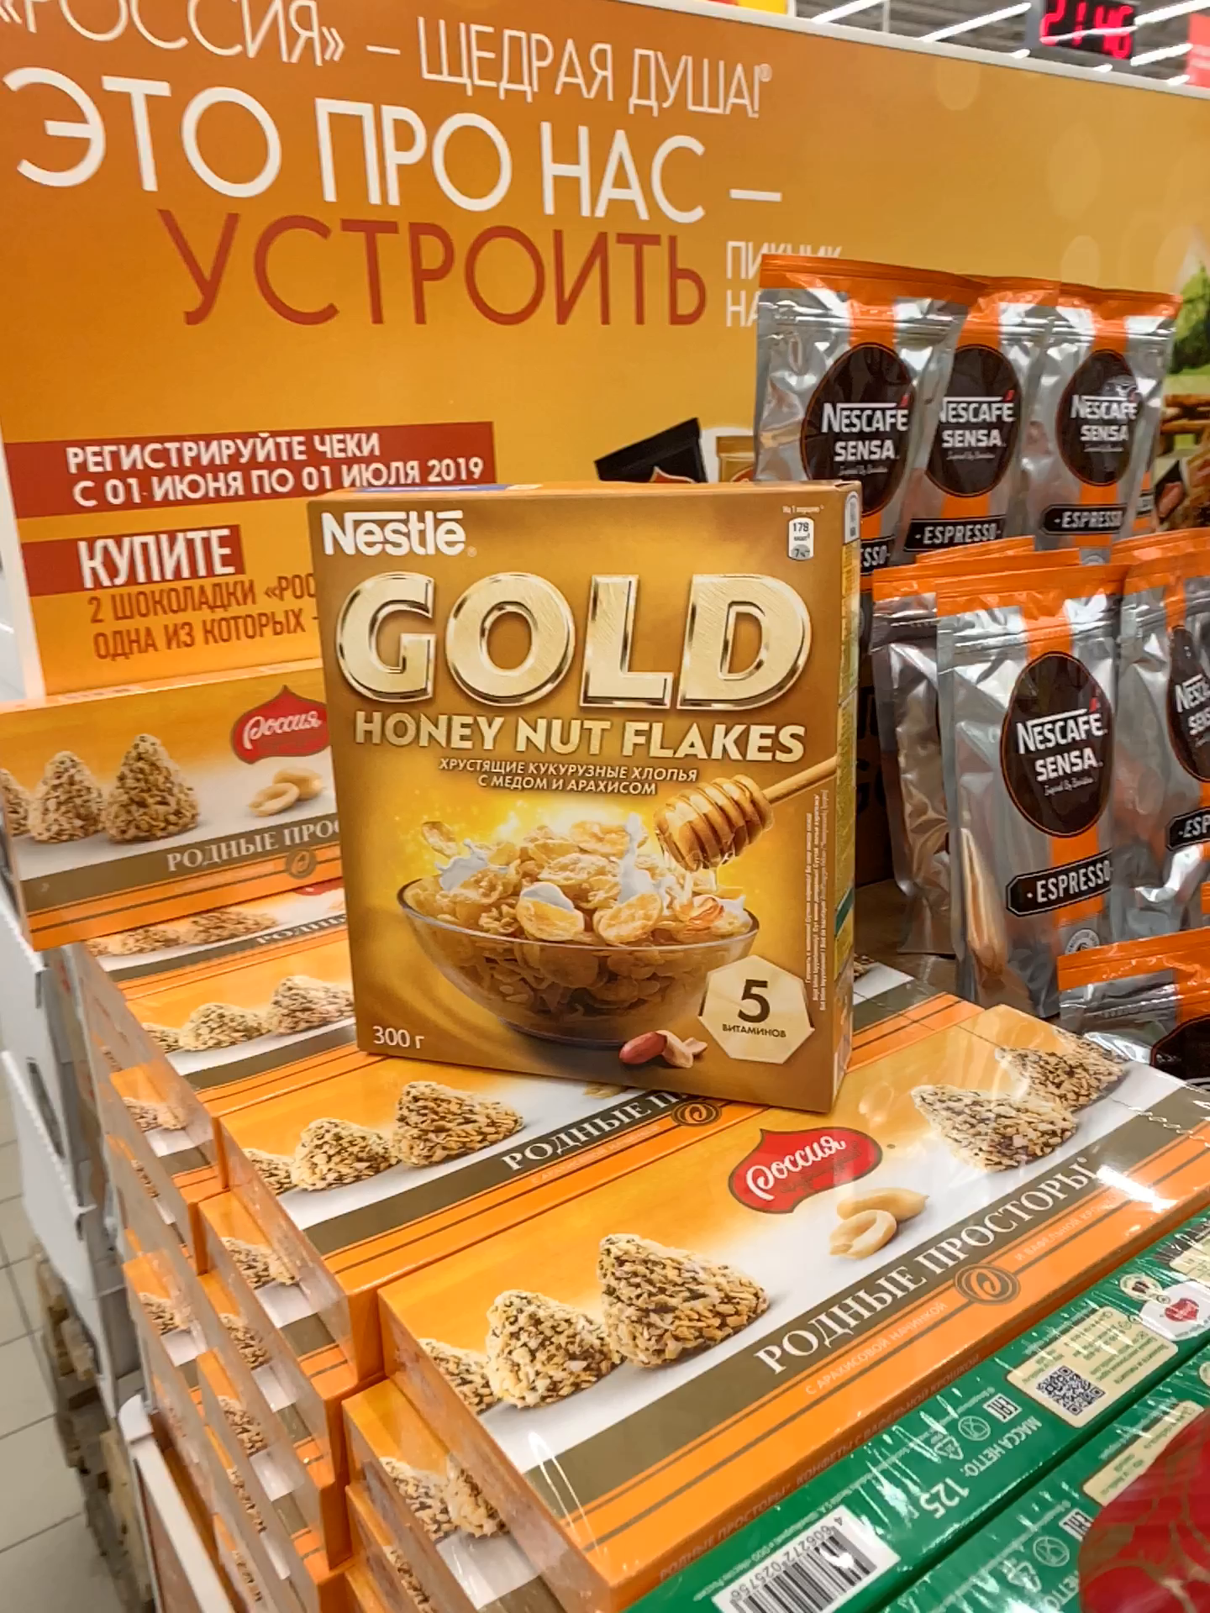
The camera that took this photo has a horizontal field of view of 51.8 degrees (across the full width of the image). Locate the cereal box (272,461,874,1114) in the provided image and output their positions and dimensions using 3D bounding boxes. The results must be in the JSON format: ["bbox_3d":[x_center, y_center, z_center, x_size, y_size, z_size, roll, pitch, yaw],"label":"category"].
[{"bbox_3d":[-0.008,-0.012,0.464,0.200,0.219,0.060,4,18,17],"label":"cereal box"}]
